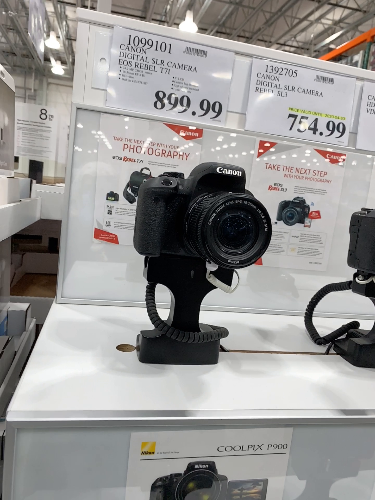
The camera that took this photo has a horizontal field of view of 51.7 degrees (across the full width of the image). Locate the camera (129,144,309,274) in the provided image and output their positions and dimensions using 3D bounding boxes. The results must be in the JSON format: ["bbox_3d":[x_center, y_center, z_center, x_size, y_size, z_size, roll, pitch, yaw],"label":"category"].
[{"bbox_3d":[0.020,-0.041,0.387,0.132,0.096,0.130,4,8,-16],"label":"camera"}]
